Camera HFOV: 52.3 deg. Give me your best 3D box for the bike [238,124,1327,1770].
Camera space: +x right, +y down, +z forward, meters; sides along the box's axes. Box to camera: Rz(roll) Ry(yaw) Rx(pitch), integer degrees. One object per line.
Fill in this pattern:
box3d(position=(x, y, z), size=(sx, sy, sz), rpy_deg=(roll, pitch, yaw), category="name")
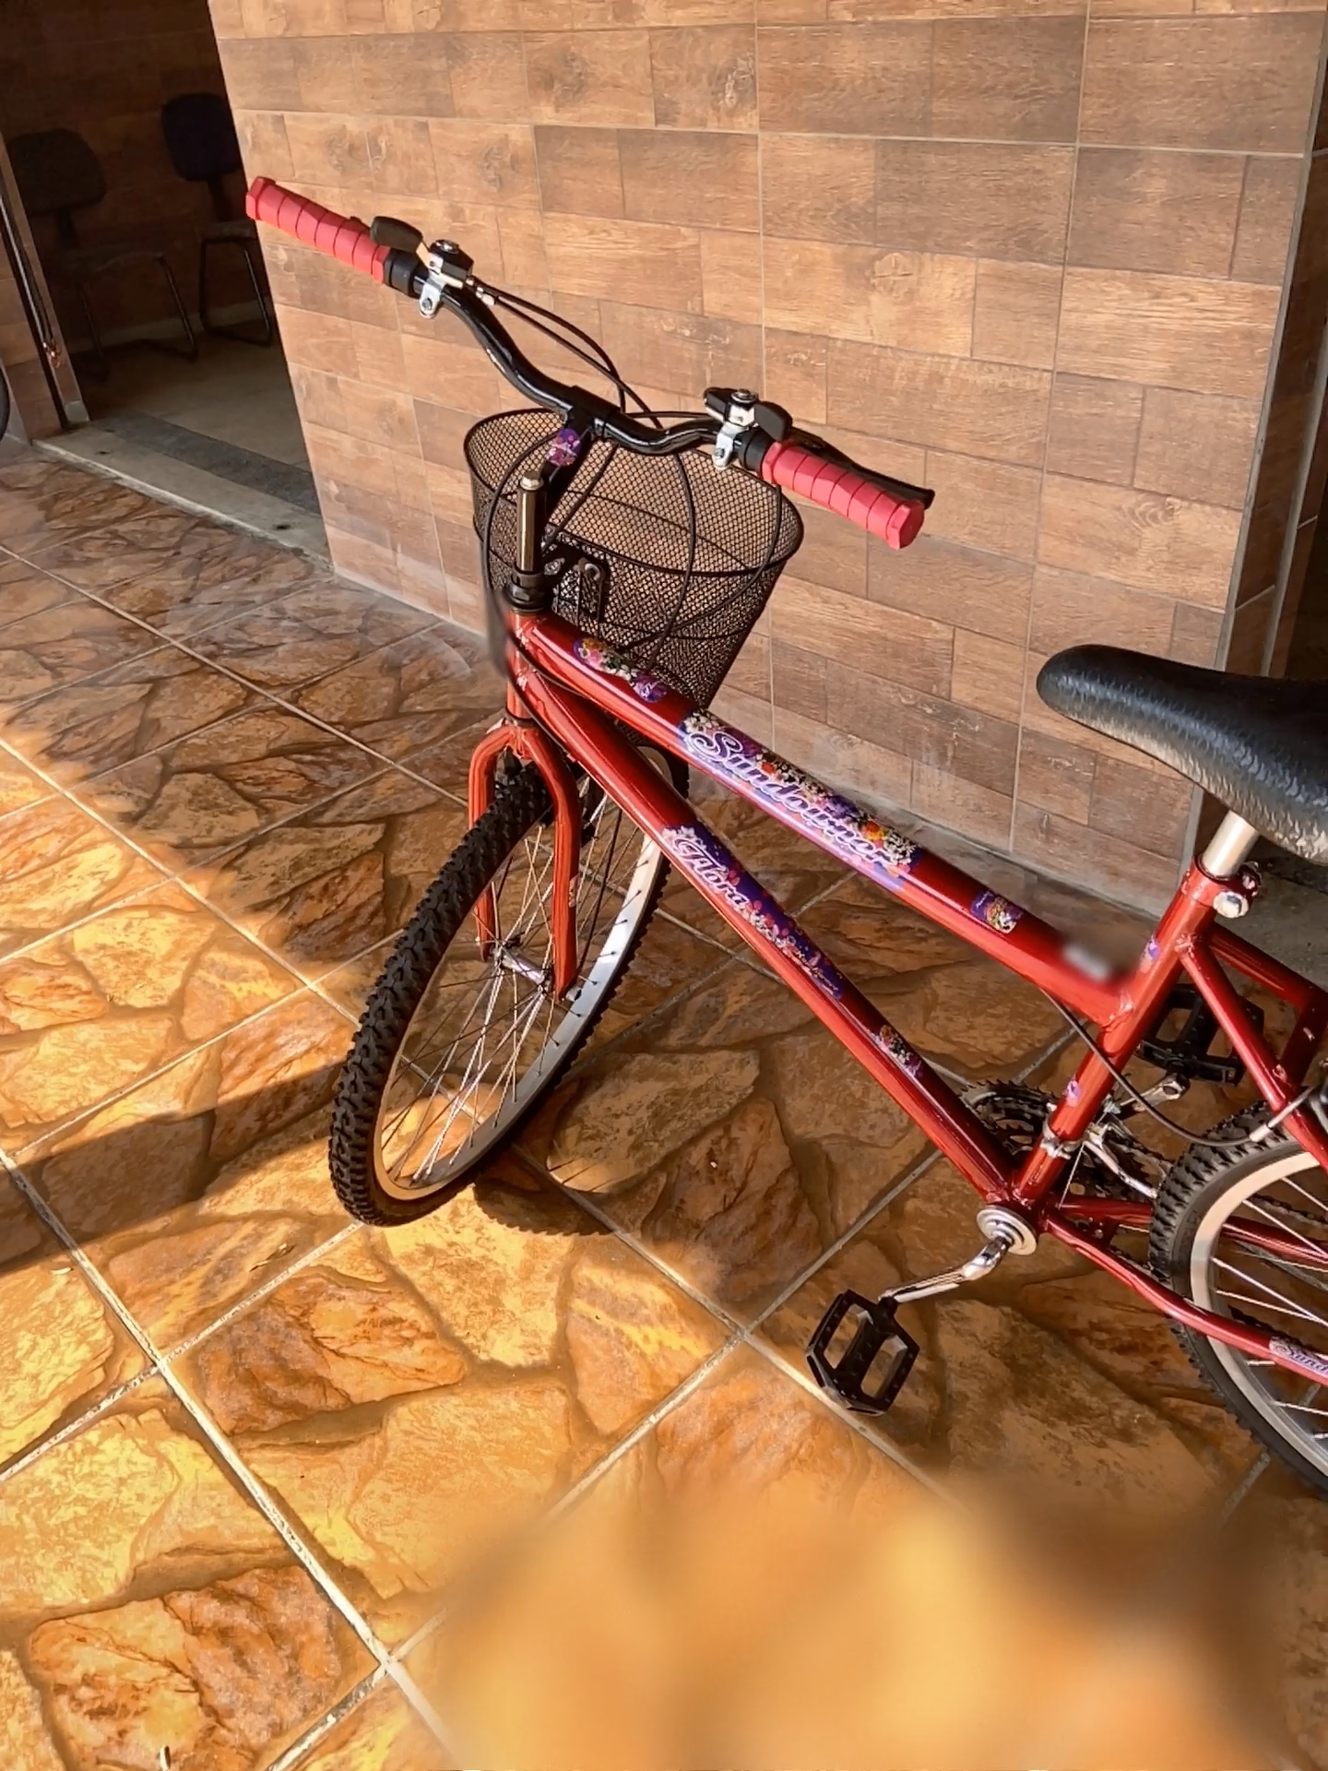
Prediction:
box3d(position=(0.344, 0.059, 1.055), size=(0.551, 1.080, 1.412), rpy_deg=(-29, 40, -31), category="bike")
